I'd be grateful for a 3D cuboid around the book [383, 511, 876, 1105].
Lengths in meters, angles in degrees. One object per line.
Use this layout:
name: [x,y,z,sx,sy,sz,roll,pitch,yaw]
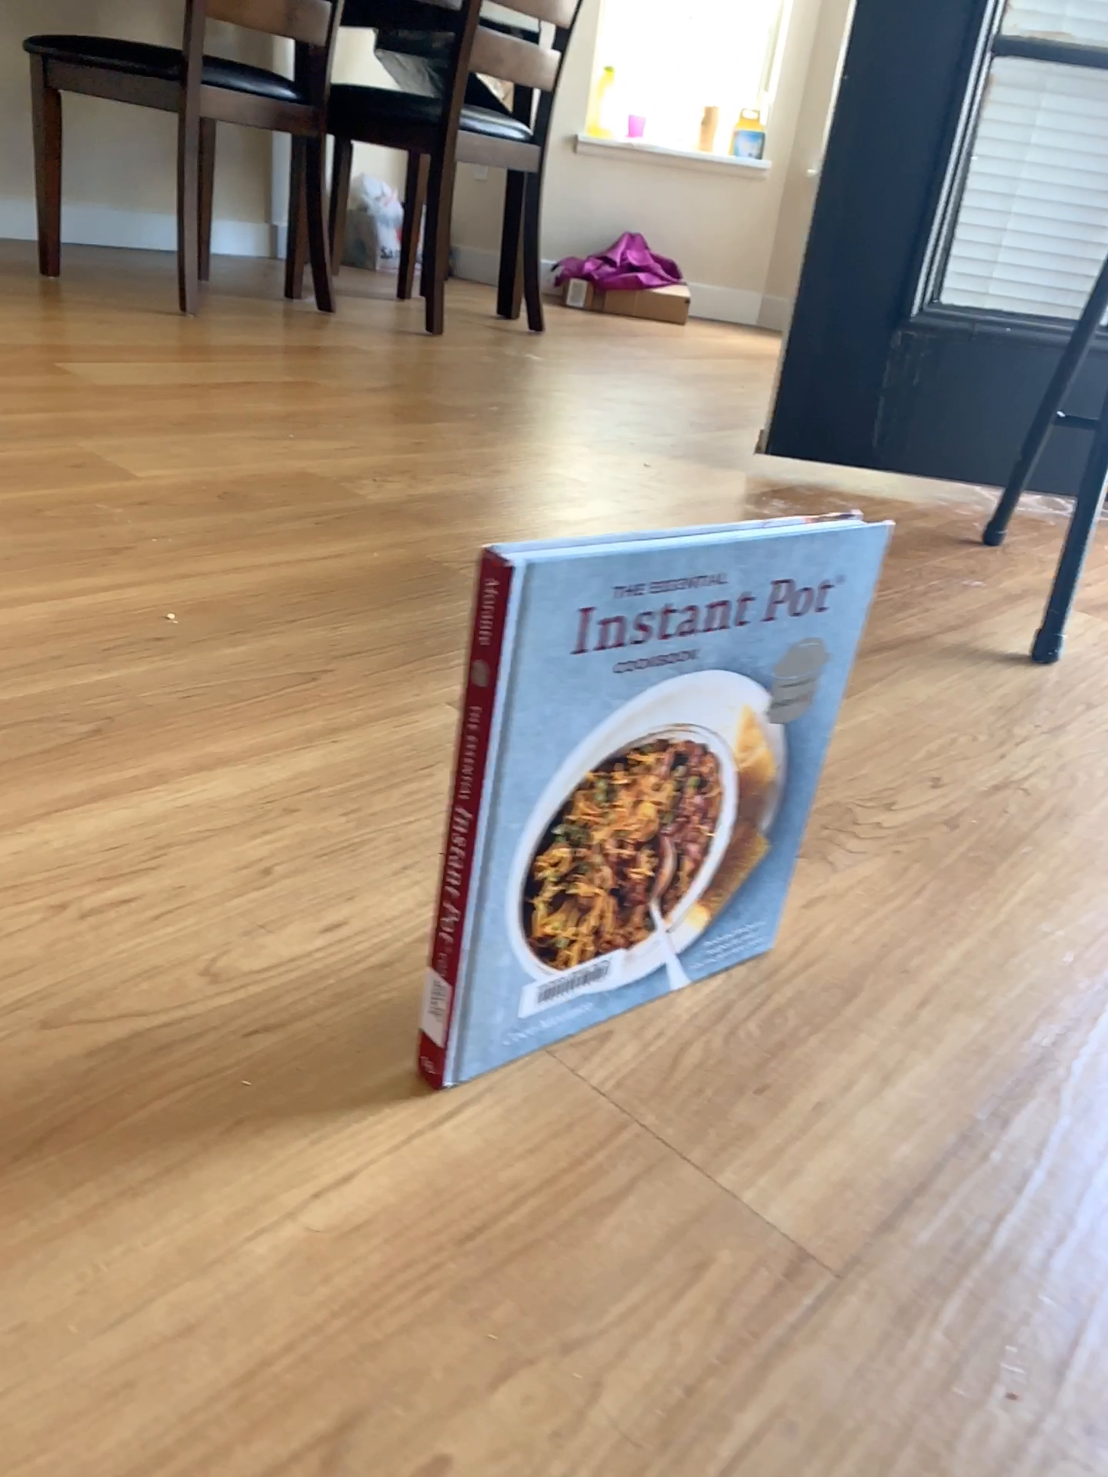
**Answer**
book: [0.037,0.023,0.519,0.230,0.239,0.030,-12,31,-37]
